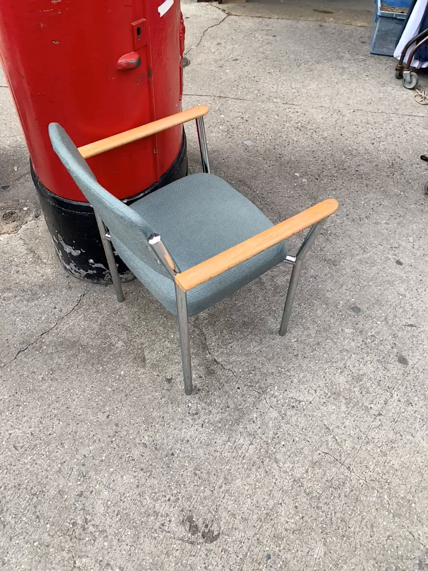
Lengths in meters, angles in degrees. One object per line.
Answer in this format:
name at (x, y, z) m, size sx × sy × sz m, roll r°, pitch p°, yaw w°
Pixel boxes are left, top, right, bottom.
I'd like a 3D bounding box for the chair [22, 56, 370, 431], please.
chair at (-0.067, -0.118, 1.260) m, size 0.572 × 0.740 × 0.560 m, roll -27°, pitch 55°, yaw -25°
